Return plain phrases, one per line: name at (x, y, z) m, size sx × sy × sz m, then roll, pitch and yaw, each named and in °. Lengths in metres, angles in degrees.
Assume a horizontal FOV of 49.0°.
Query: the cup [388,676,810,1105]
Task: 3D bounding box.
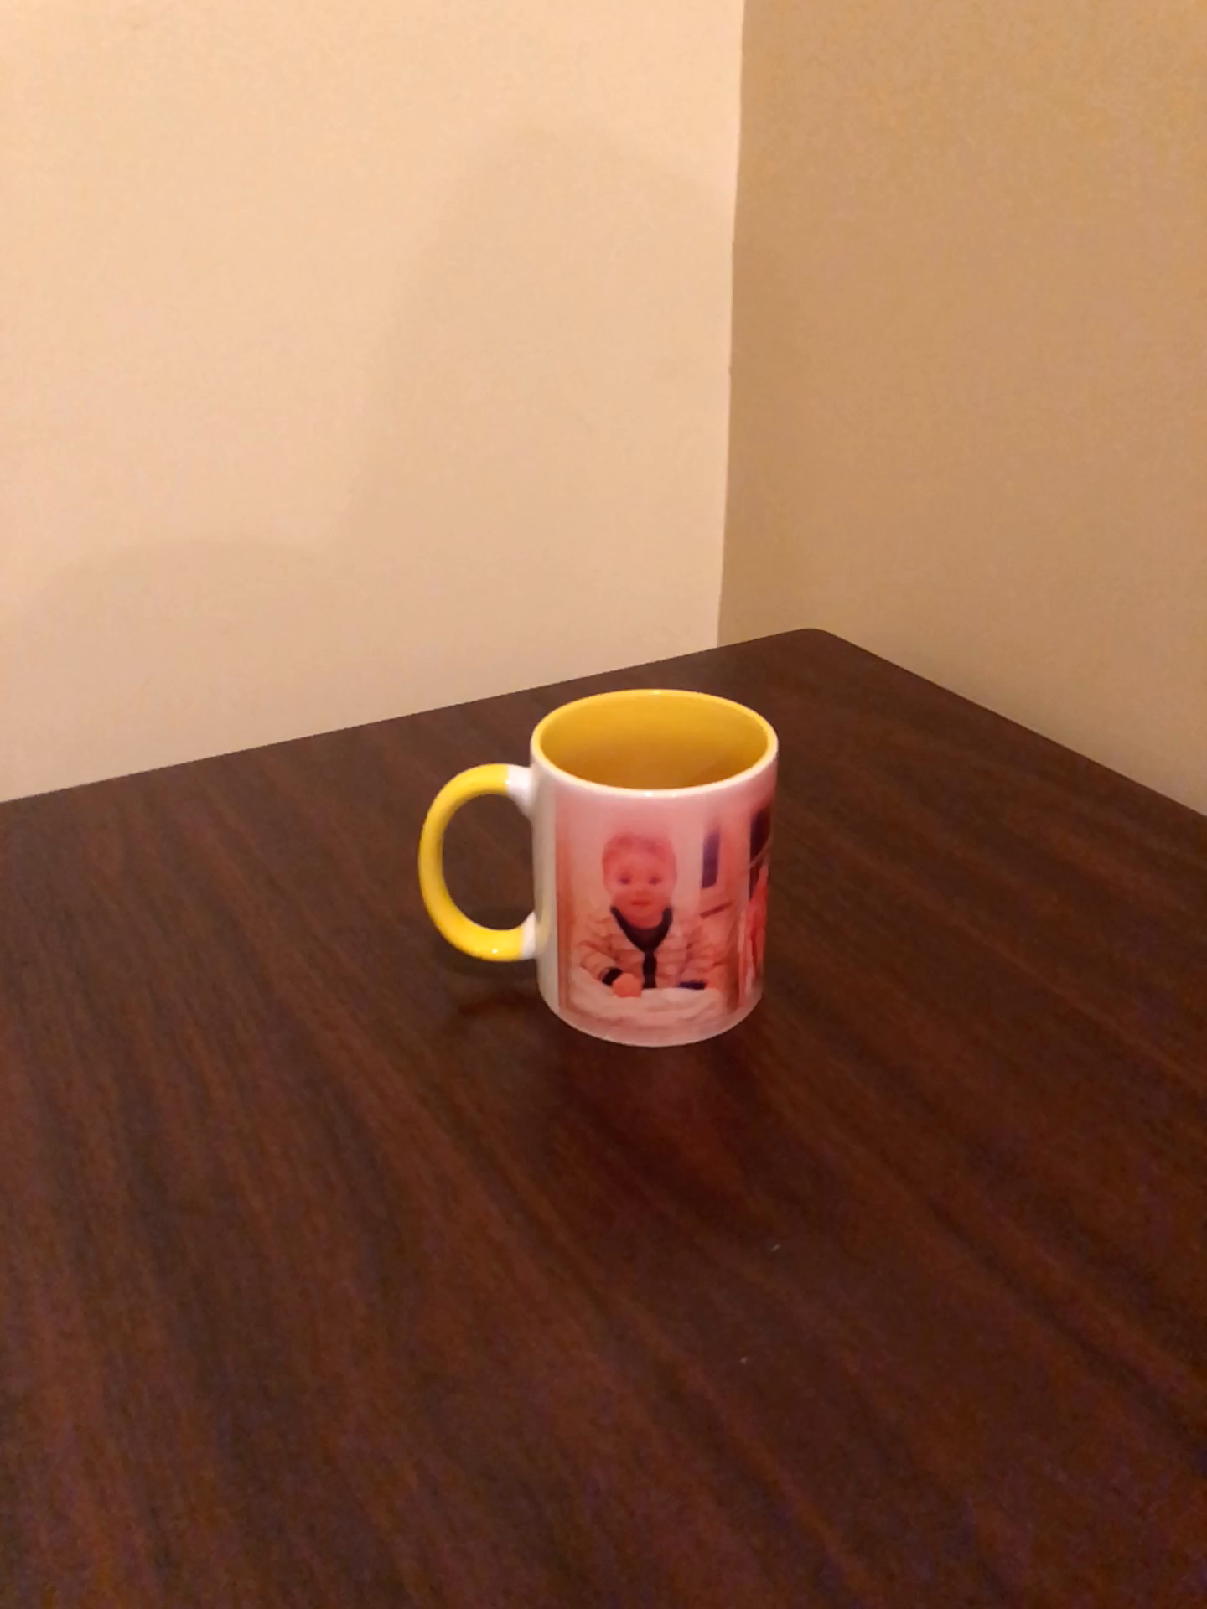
cup at (-0.006, 0.024, 0.441) m, size 0.120 × 0.100 × 0.090 m, roll -5°, pitch 28°, yaw -9°
